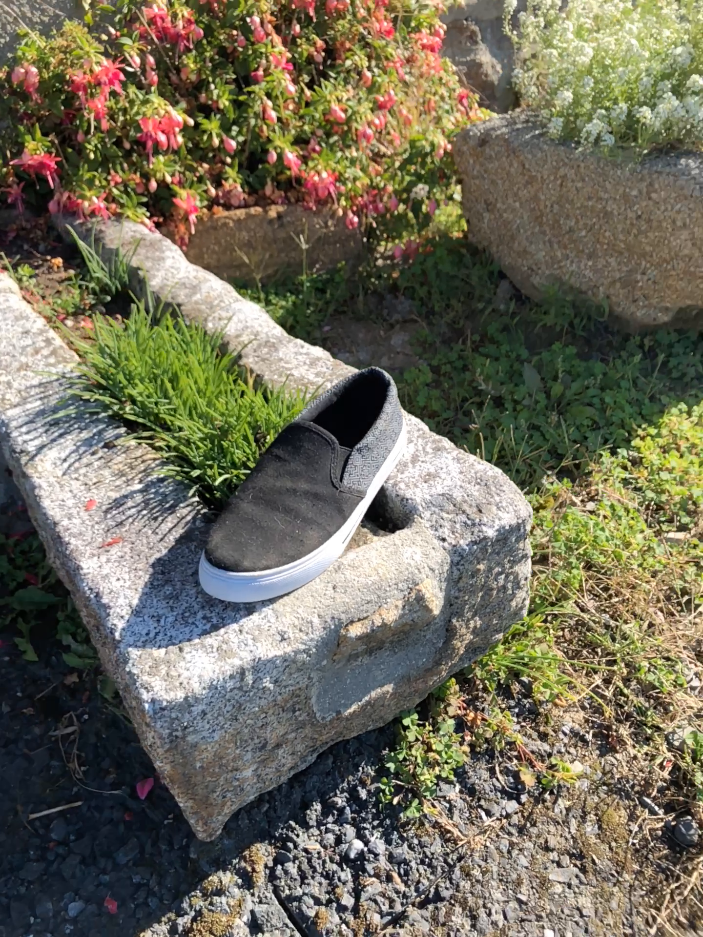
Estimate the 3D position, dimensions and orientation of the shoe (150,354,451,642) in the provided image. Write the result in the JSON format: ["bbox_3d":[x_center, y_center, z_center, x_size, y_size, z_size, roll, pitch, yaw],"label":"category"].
[{"bbox_3d":[-0.026,0.008,0.634,0.100,0.080,0.262,19,43,29],"label":"shoe"}]
